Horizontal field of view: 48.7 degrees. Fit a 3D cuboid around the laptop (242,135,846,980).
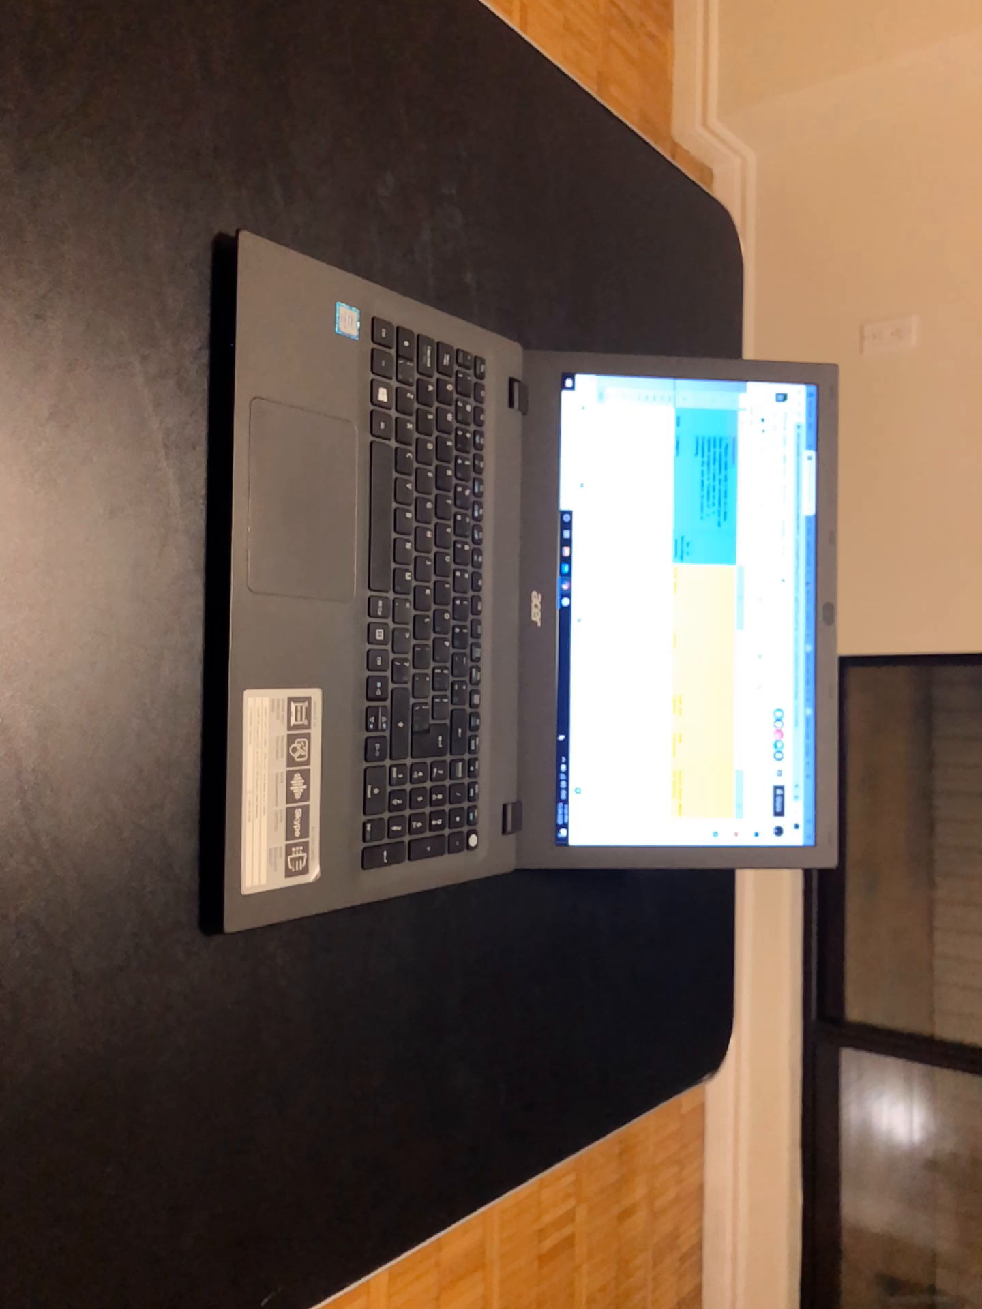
[{"bbox_3d":[0.066,-0.035,0.697,0.432,0.161,0.374,2,87,-51],"label":"laptop"}]
